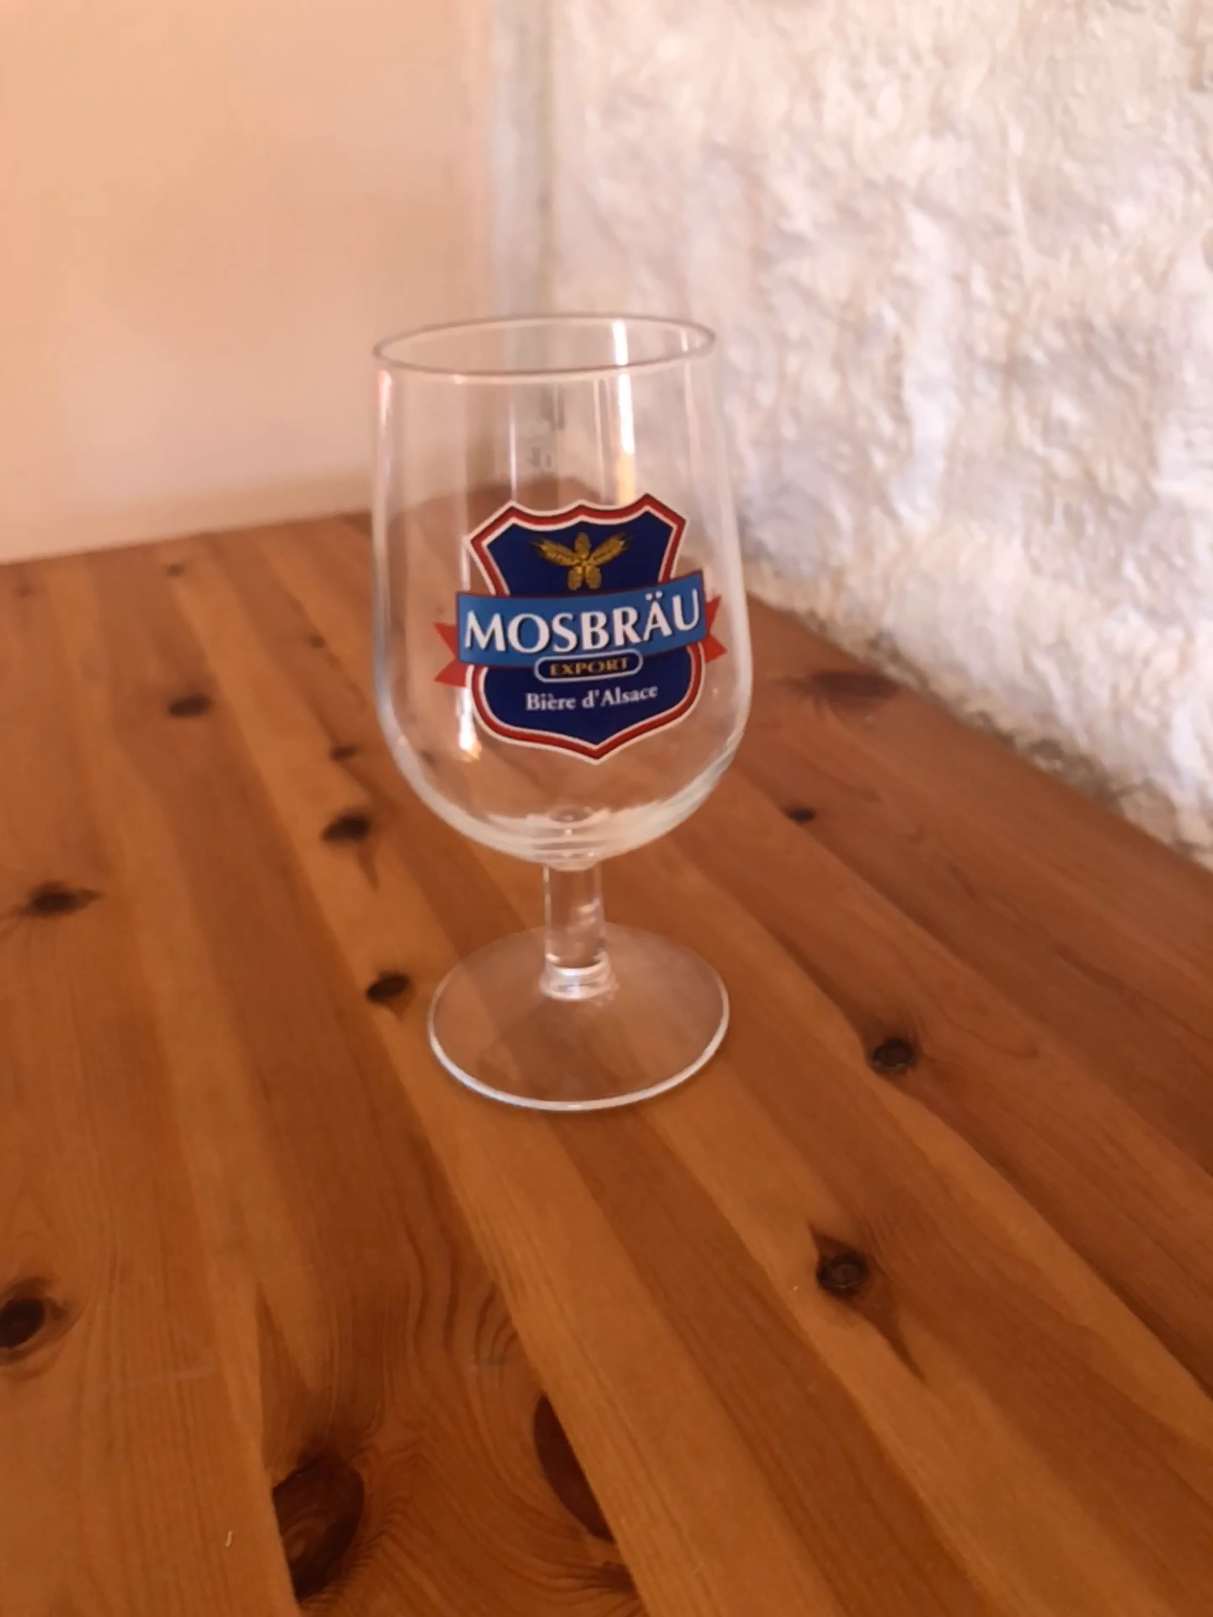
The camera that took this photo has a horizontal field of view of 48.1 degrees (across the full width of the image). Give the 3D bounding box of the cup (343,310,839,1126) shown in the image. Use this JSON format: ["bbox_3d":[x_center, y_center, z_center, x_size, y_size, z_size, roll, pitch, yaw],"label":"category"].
[{"bbox_3d":[-0.007,-0.021,0.278,0.079,0.142,0.077,0,26,0],"label":"cup"}]
